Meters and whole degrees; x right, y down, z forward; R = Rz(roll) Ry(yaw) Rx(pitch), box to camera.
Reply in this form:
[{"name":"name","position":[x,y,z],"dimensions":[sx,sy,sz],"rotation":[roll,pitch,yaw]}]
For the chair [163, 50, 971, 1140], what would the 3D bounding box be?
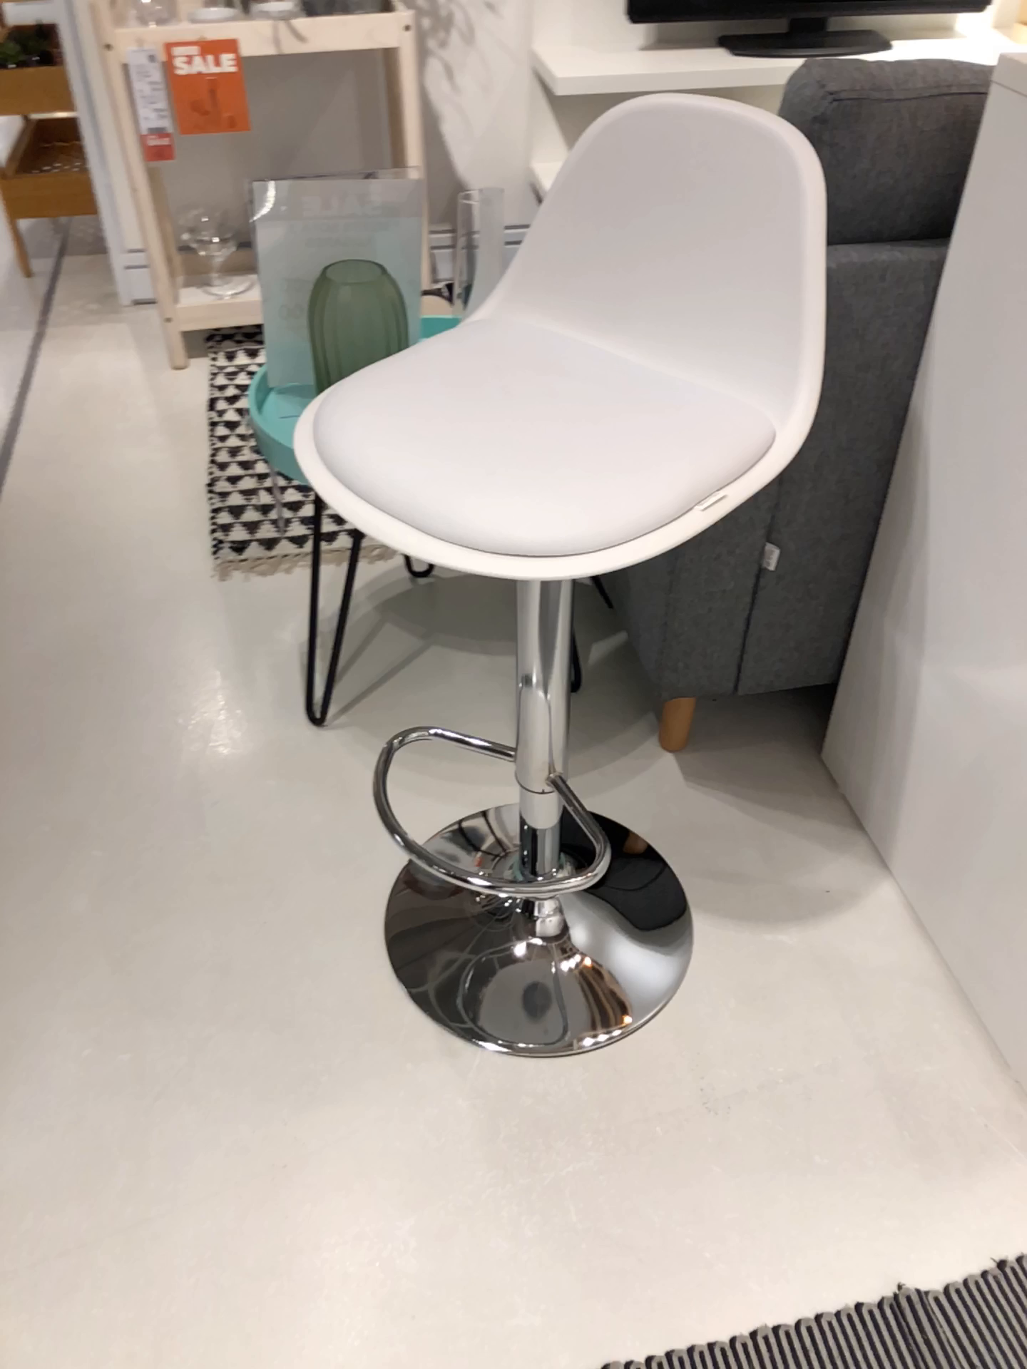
[{"name":"chair","position":[0.037,-0.060,1.102],"dimensions":[0.422,0.883,0.412],"rotation":[-30,48,-31]}]
